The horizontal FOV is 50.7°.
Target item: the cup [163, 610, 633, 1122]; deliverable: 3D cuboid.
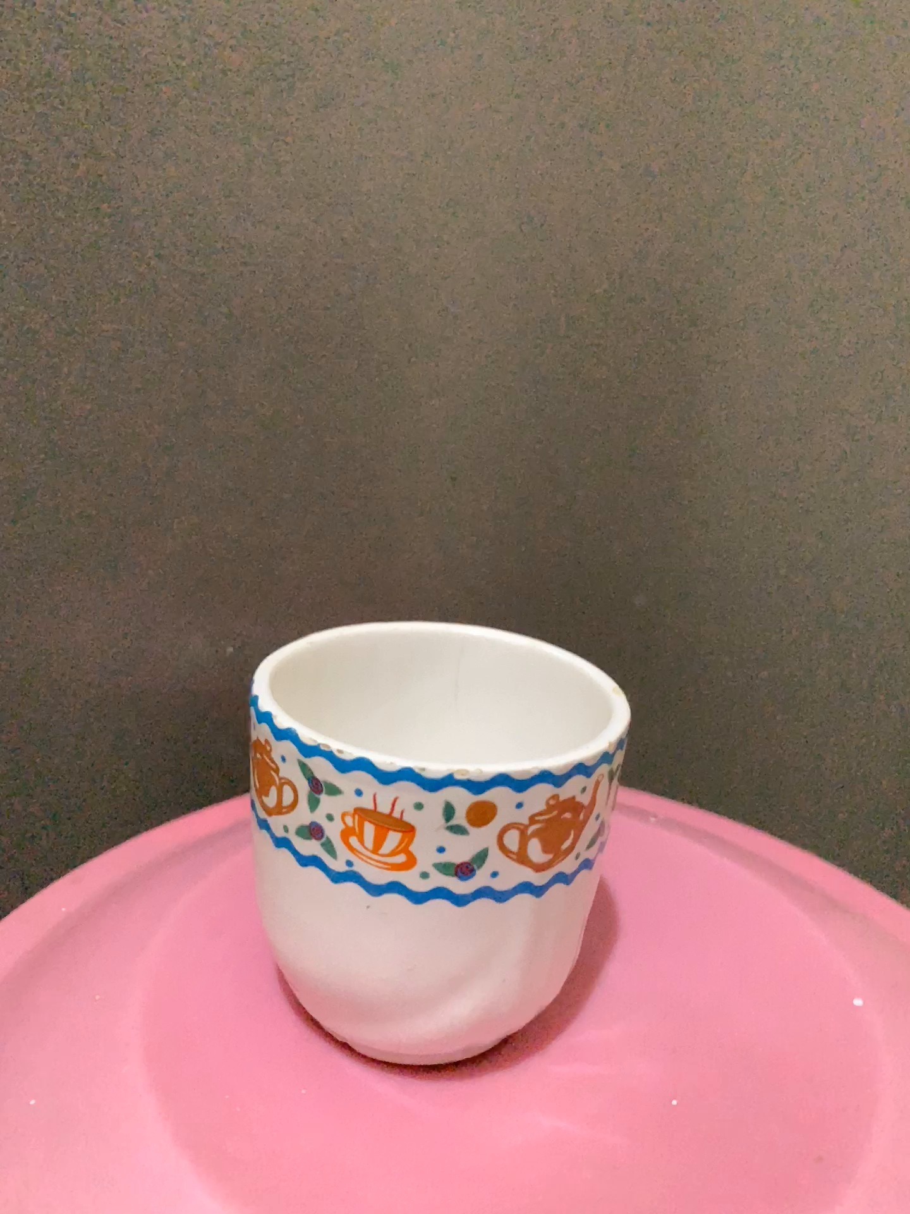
[{"bbox_3d":[-0.008,0.041,0.183,0.070,0.060,0.070,4,14,-1],"label":"cup"}]
